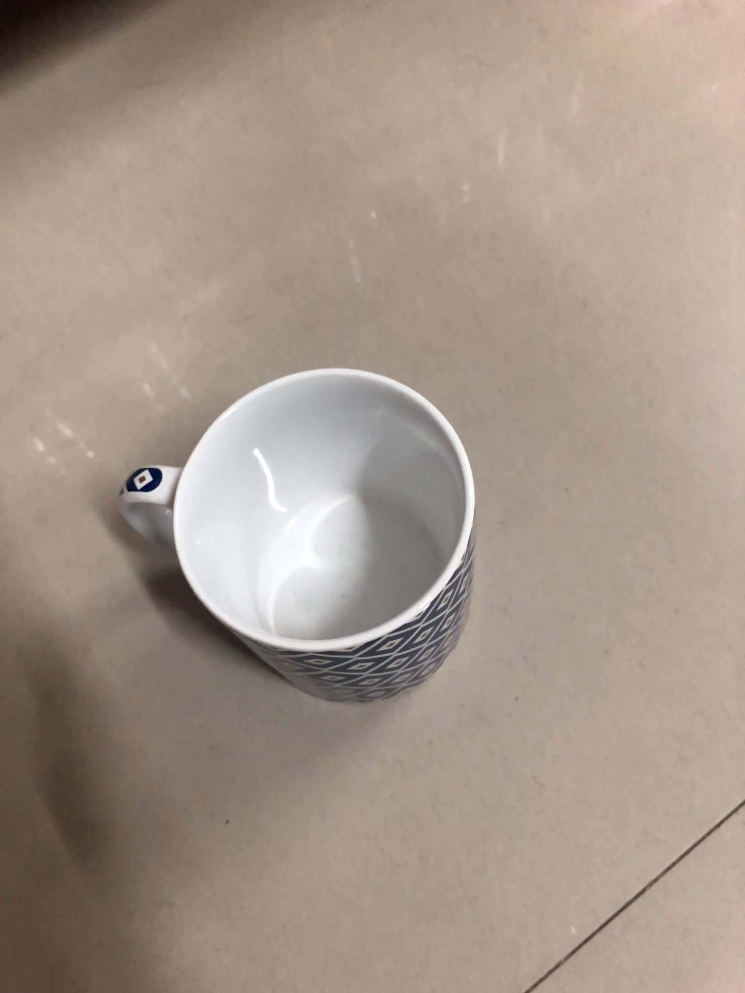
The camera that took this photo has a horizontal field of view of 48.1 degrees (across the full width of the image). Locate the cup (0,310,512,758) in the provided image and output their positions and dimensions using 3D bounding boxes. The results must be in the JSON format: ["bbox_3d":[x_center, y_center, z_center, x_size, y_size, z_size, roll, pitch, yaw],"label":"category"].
[{"bbox_3d":[-0.025,0.013,0.230,0.110,0.080,0.080,11,67,12],"label":"cup"}]
